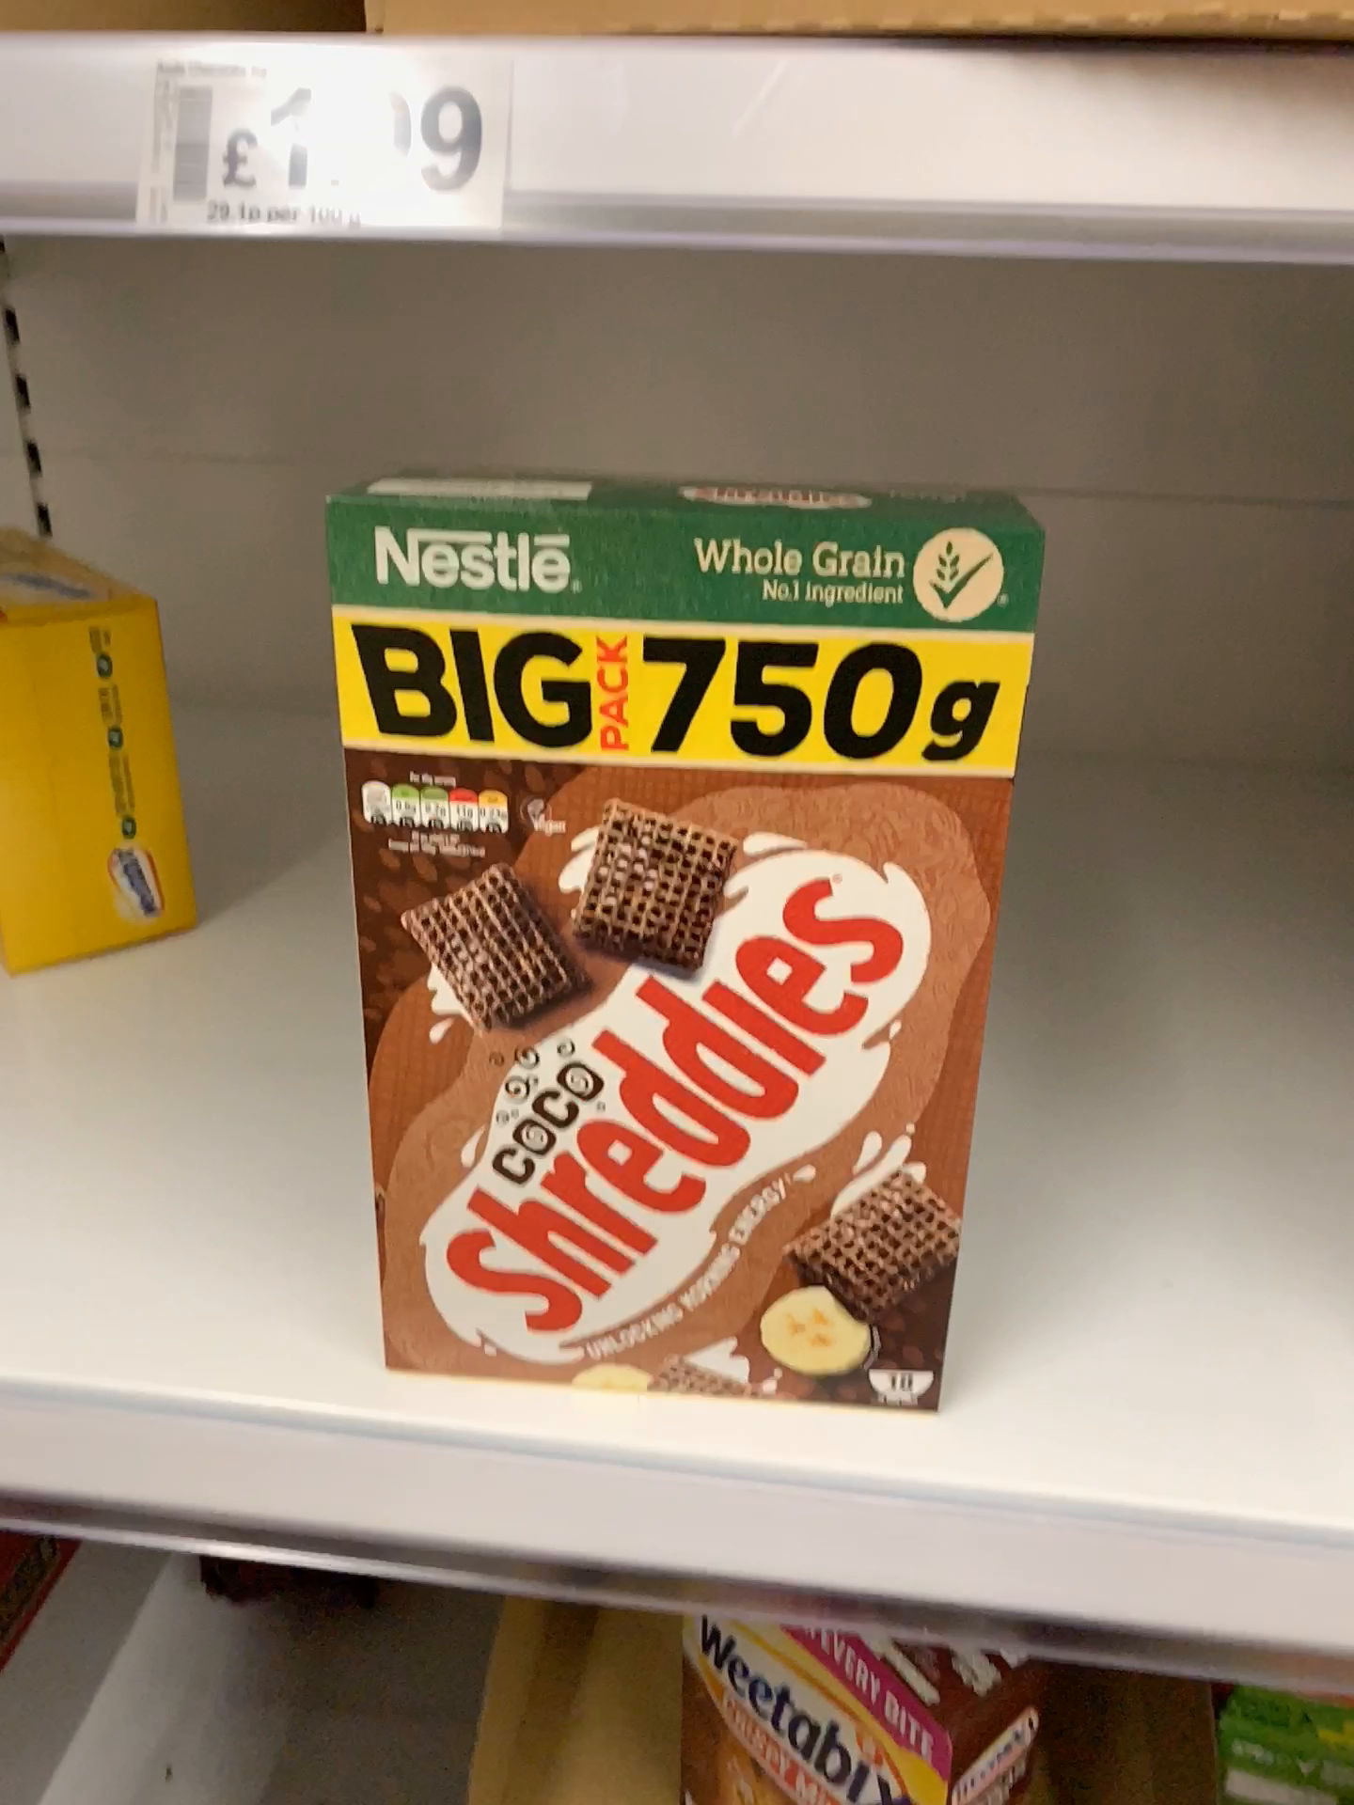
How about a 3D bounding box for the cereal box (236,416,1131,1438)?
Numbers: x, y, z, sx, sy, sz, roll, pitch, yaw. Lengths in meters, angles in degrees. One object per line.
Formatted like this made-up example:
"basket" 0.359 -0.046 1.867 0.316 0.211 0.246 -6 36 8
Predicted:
"cereal box" -0.001 0.013 0.420 0.210 0.288 0.081 4 24 4
